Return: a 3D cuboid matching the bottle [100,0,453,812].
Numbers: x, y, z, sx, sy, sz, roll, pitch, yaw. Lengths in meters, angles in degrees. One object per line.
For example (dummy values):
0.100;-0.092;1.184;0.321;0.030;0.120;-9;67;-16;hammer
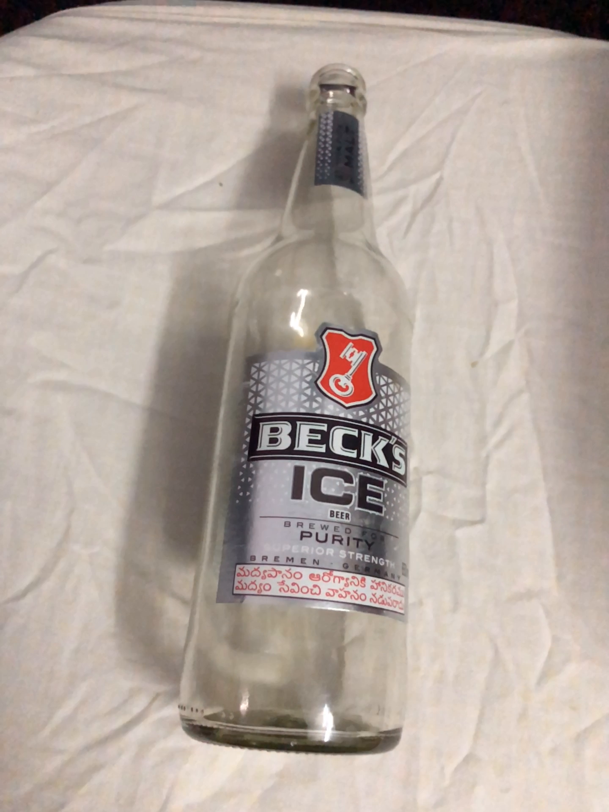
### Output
0.001;-0.026;0.231;0.080;0.080;0.280;3;75;1;bottle
